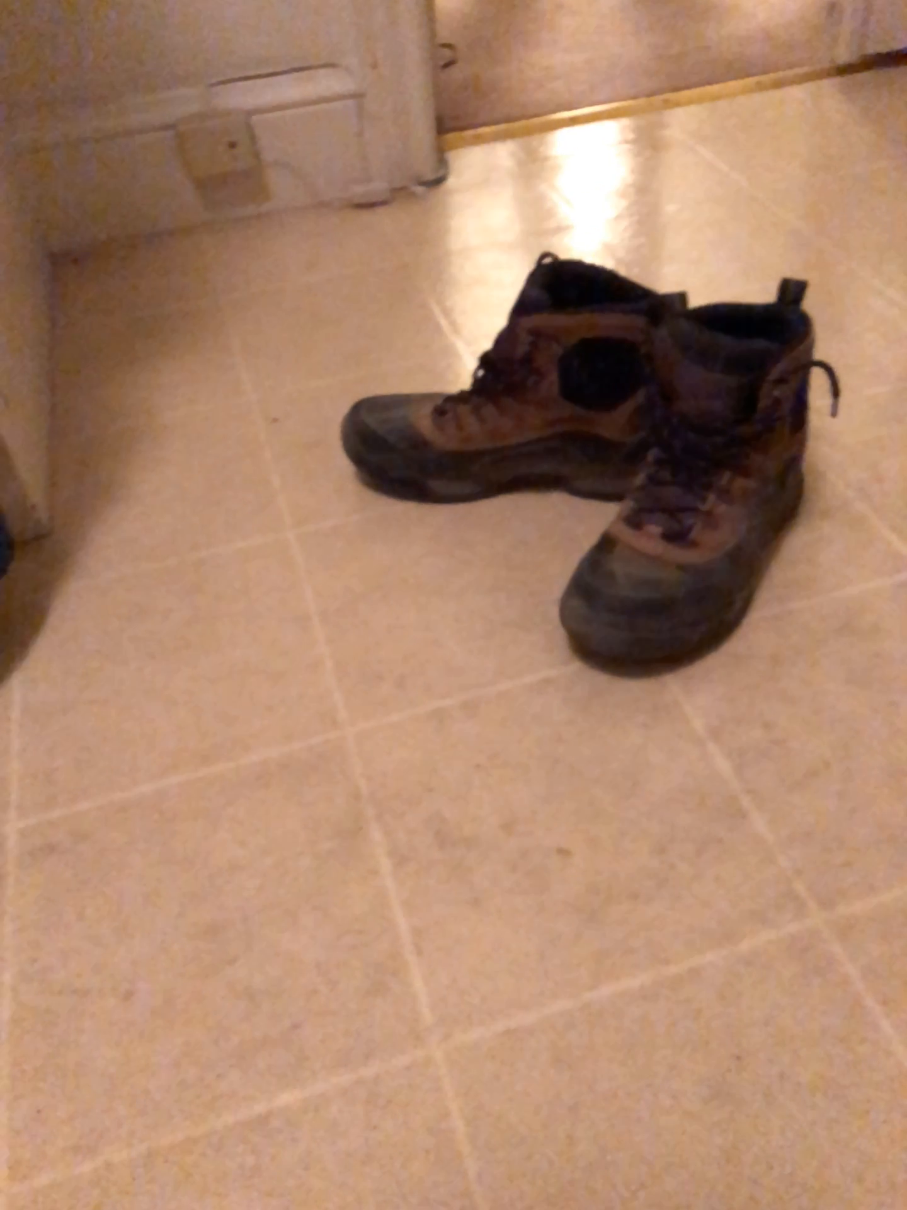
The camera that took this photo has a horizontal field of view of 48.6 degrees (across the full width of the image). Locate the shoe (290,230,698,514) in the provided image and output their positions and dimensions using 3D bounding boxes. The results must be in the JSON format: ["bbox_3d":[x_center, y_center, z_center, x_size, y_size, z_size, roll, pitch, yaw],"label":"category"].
[{"bbox_3d":[0.041,-0.187,0.816,0.292,0.185,0.114,3,44,10],"label":"shoe"}]

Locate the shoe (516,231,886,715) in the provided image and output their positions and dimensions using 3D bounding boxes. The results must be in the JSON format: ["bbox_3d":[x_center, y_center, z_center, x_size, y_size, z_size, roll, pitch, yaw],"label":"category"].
[{"bbox_3d":[0.179,-0.106,0.714,0.122,0.185,0.300,22,51,27],"label":"shoe"}]
